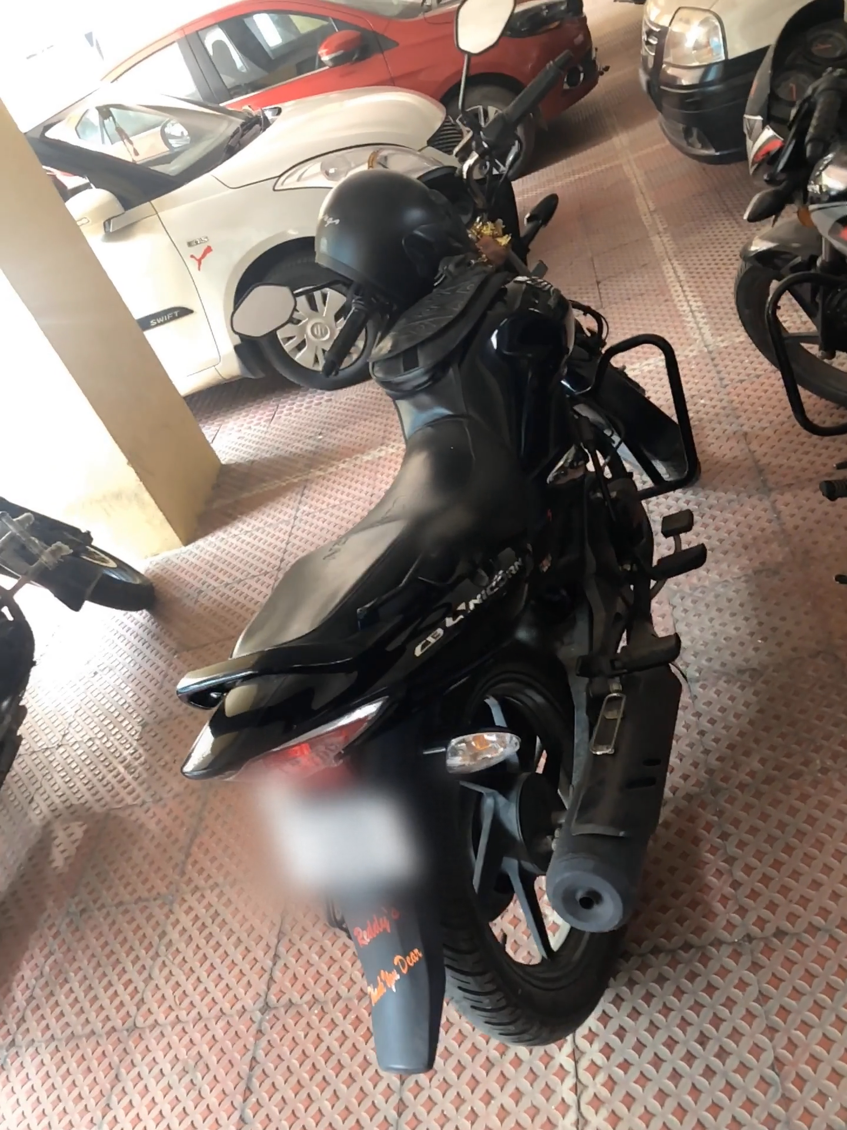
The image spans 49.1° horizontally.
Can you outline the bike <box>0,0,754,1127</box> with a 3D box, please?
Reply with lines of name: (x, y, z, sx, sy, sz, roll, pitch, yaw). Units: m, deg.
bike: (-0.009, -0.142, 1.818, 0.804, 1.200, 1.691, -13, 36, 21)
